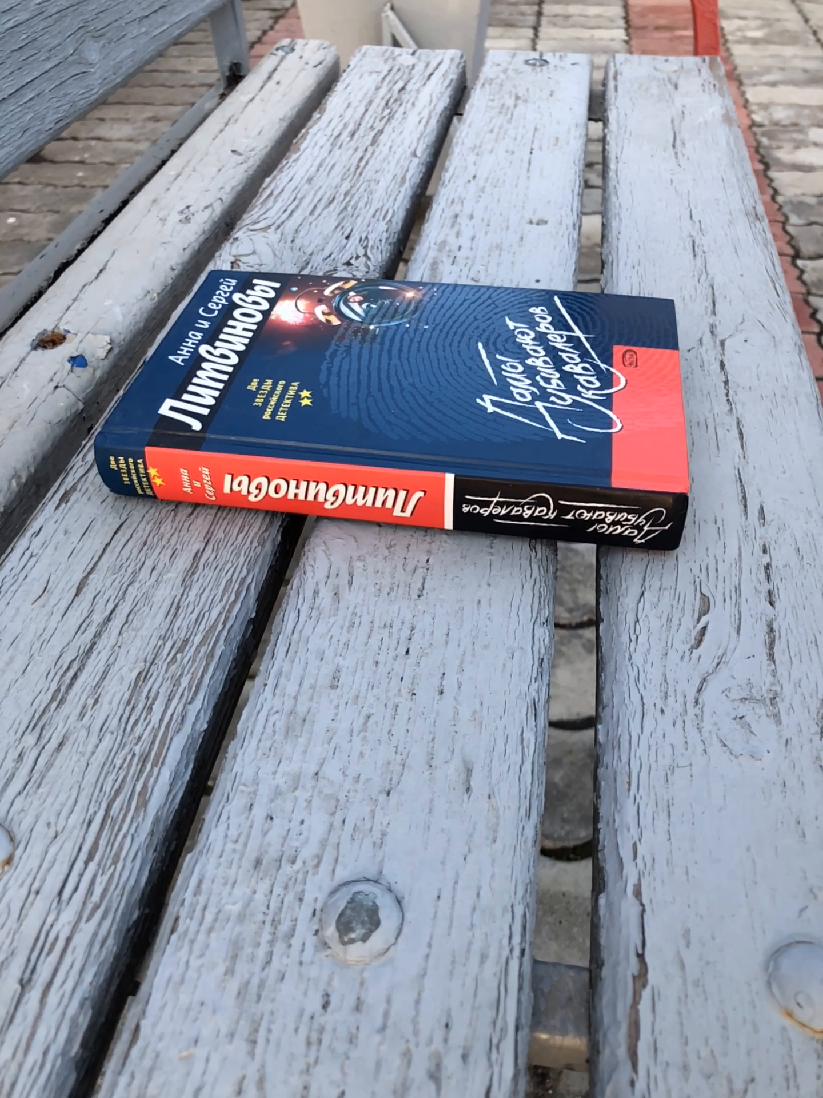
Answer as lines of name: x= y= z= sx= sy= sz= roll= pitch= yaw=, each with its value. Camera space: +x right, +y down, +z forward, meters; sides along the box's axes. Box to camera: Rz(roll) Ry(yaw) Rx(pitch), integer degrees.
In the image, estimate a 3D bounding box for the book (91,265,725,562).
book: x=0.004 y=-0.060 z=0.353 sx=0.208 sy=0.030 sz=0.131 roll=6 pitch=43 yaw=6
